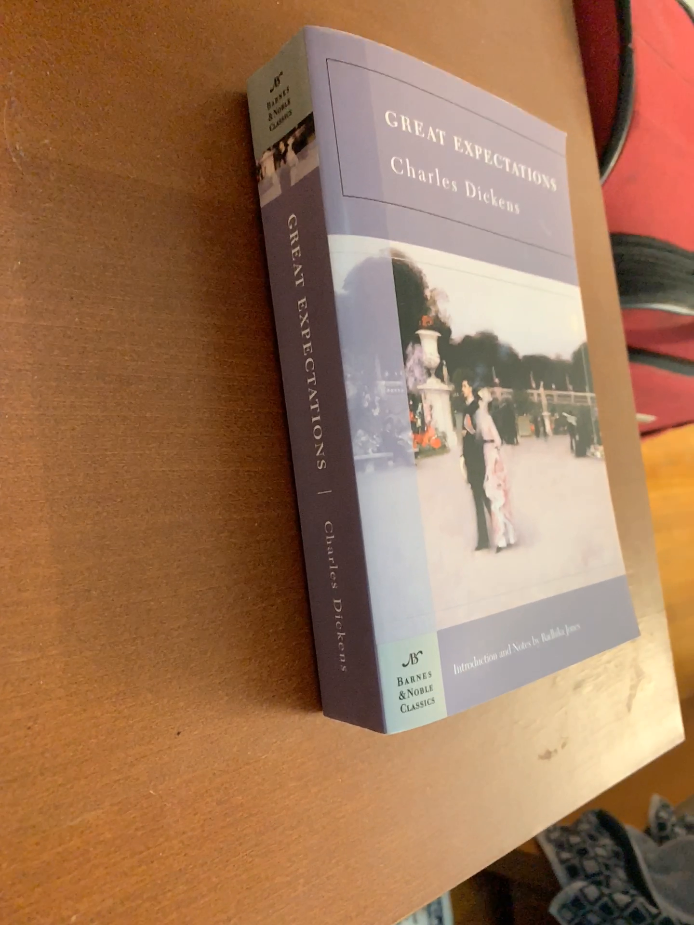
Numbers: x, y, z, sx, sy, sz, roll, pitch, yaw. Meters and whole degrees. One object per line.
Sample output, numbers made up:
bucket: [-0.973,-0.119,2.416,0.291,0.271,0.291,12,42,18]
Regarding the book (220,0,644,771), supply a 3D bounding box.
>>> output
book: [0.037,-0.025,0.245,0.141,0.040,0.200,-4,87,-43]
